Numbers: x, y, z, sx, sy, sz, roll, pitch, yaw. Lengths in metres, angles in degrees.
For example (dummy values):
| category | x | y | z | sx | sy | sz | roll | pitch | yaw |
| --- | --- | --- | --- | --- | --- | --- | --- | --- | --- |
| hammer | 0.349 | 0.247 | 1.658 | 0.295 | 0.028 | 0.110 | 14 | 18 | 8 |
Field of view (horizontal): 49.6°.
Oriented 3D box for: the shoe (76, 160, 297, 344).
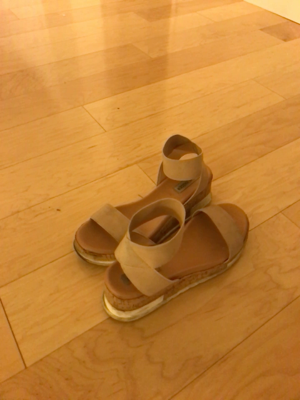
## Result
| category | x | y | z | sx | sy | sz | roll | pitch | yaw |
| --- | --- | --- | --- | --- | --- | --- | --- | --- | --- |
| shoe | 0.052 | 0.059 | 0.435 | 0.271 | 0.109 | 0.090 | -25 | 53 | -23 |

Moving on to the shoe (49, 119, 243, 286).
| category | x | y | z | sx | sy | sz | roll | pitch | yaw |
| --- | --- | --- | --- | --- | --- | --- | --- | --- | --- |
| shoe | 0.003 | -0.009 | 0.497 | 0.271 | 0.109 | 0.100 | -30 | 55 | -27 |
